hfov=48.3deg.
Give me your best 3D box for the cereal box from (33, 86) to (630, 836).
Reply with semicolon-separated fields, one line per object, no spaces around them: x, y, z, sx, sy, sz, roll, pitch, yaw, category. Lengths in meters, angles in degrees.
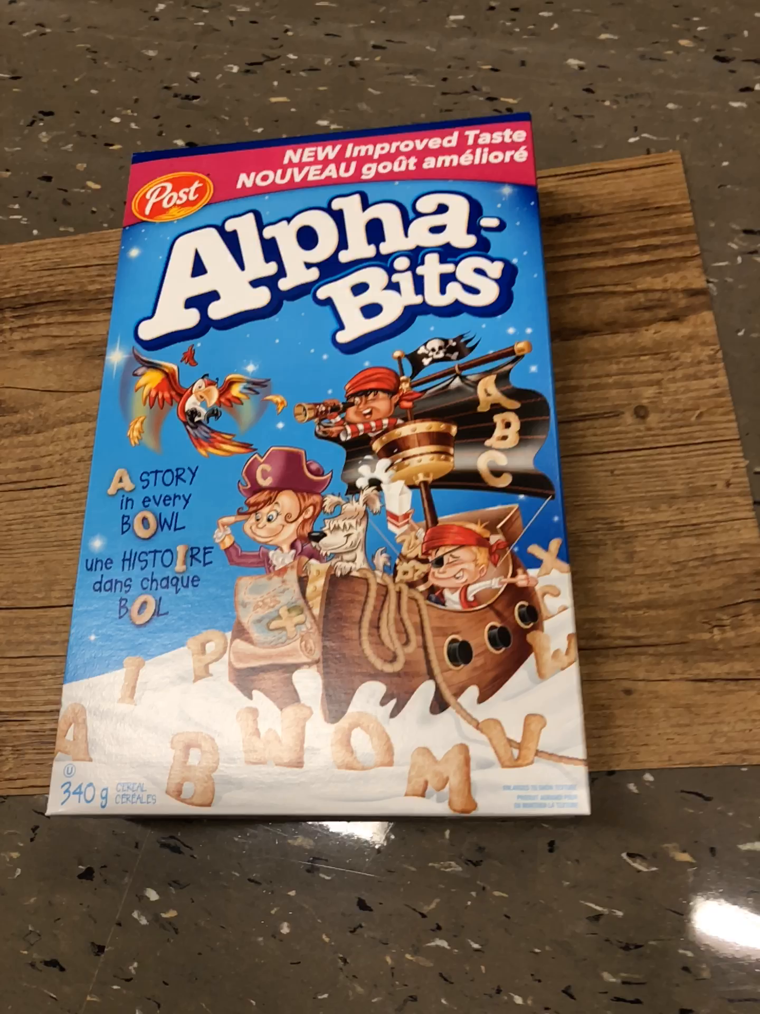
-0.016;-0.027;0.362;0.200;0.060;0.310;-3;68;8;cereal box
